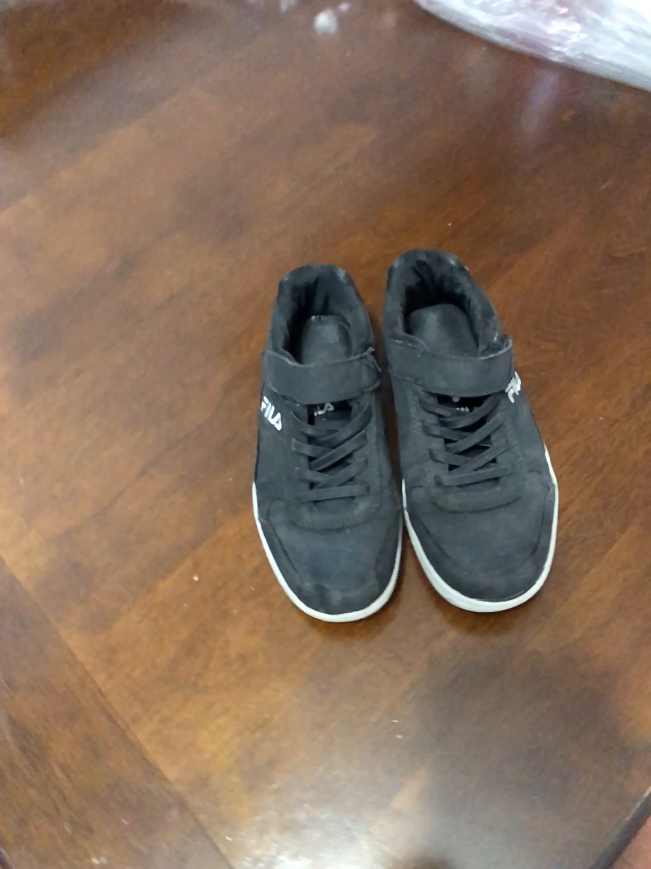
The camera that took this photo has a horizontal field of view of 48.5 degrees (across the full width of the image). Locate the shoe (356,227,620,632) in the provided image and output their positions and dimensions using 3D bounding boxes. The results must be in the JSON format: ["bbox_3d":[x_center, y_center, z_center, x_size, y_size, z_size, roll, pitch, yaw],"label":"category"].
[{"bbox_3d":[0.081,-0.008,0.417,0.090,0.080,0.210,-10,58,3],"label":"shoe"}]

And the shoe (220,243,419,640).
[{"bbox_3d":[-0.004,0.000,0.419,0.090,0.080,0.210,-7,59,5],"label":"shoe"}]
